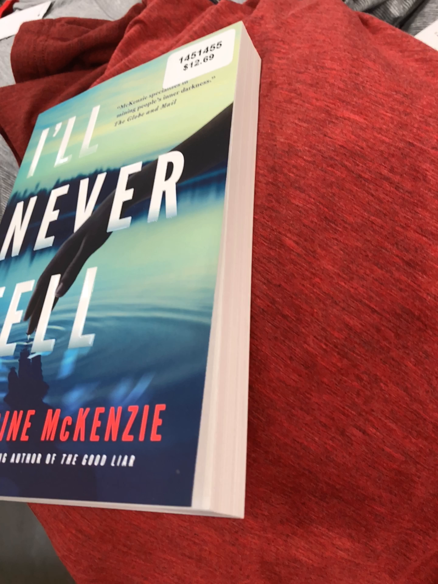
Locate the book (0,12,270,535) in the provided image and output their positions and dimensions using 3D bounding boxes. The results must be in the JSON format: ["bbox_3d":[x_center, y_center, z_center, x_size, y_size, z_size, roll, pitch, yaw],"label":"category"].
[{"bbox_3d":[-0.054,-0.015,0.218,0.144,0.032,0.208,-10,59,28],"label":"book"}]
